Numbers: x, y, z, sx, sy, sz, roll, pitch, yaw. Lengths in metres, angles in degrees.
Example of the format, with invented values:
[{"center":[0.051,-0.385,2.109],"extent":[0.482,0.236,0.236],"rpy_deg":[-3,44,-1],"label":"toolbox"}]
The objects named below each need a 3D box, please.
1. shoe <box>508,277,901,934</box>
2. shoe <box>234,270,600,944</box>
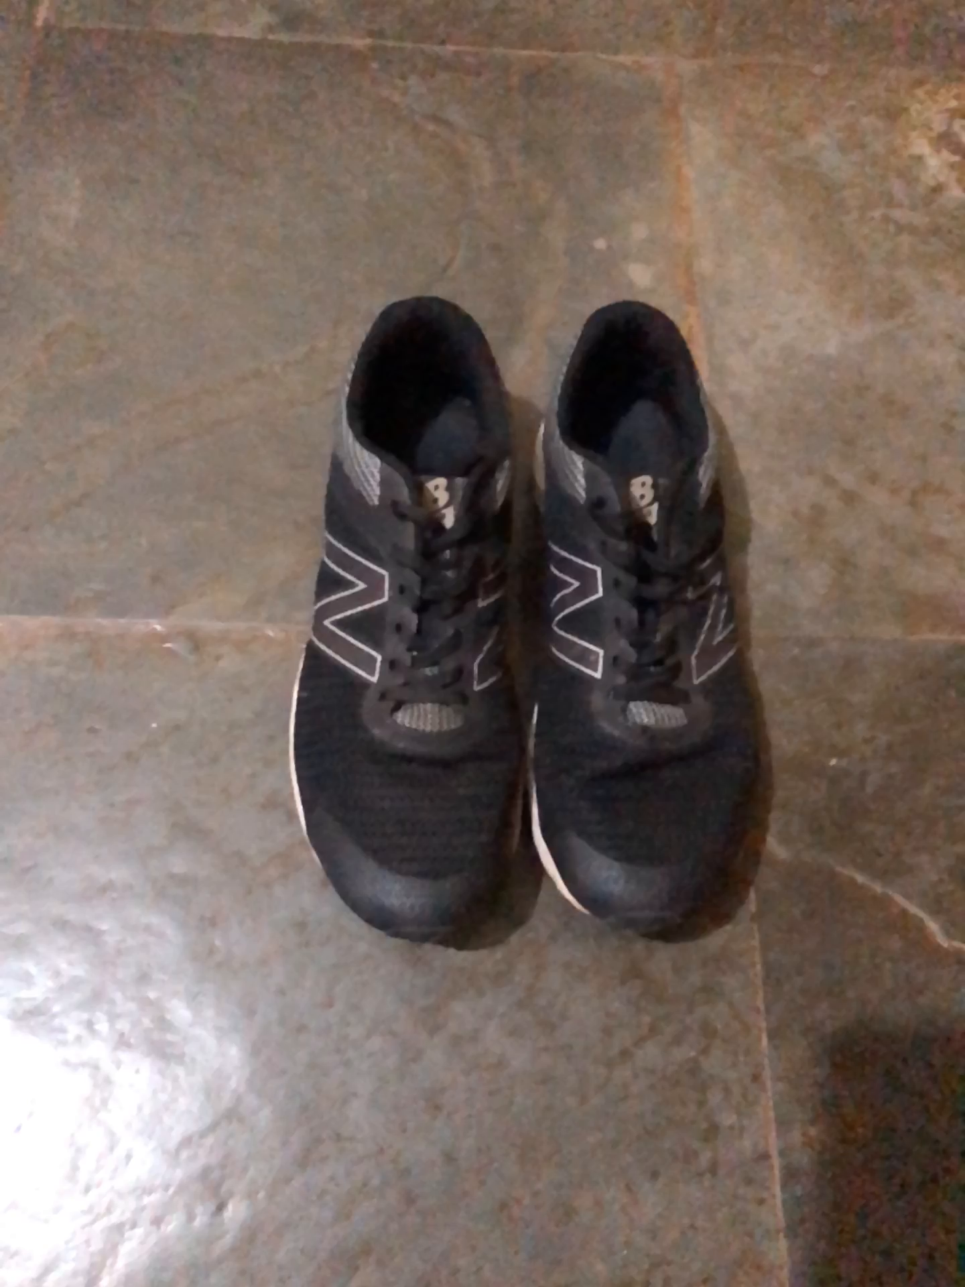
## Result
[{"center":[0.078,-0.019,0.457],"extent":[0.110,0.100,0.261],"rpy_deg":[-2,67,-4],"label":"shoe"},{"center":[-0.031,-0.018,0.446],"extent":[0.120,0.100,0.261],"rpy_deg":[-2,67,-4],"label":"shoe"}]
